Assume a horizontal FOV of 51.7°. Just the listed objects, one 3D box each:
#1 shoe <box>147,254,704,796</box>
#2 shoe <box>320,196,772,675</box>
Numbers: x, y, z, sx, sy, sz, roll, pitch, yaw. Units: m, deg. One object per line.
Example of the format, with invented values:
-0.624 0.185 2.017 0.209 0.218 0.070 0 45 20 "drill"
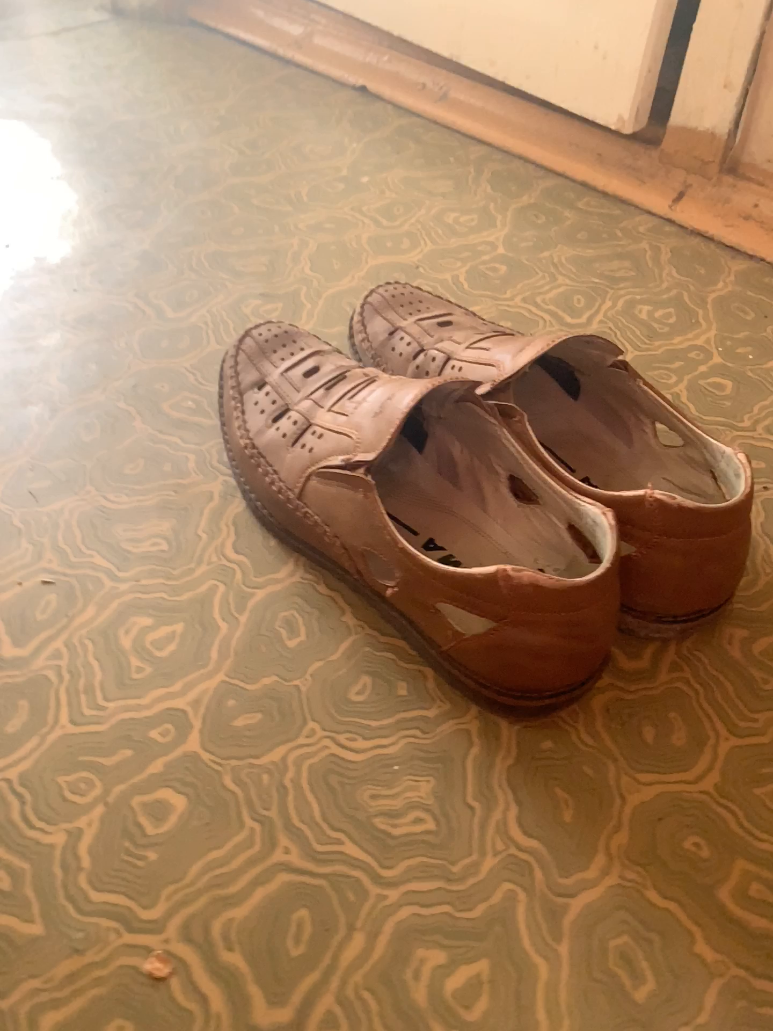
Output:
-0.004 -0.020 0.398 0.100 0.079 0.291 -27 52 -25 "shoe"
0.085 -0.067 0.433 0.110 0.079 0.292 -24 51 -23 "shoe"
